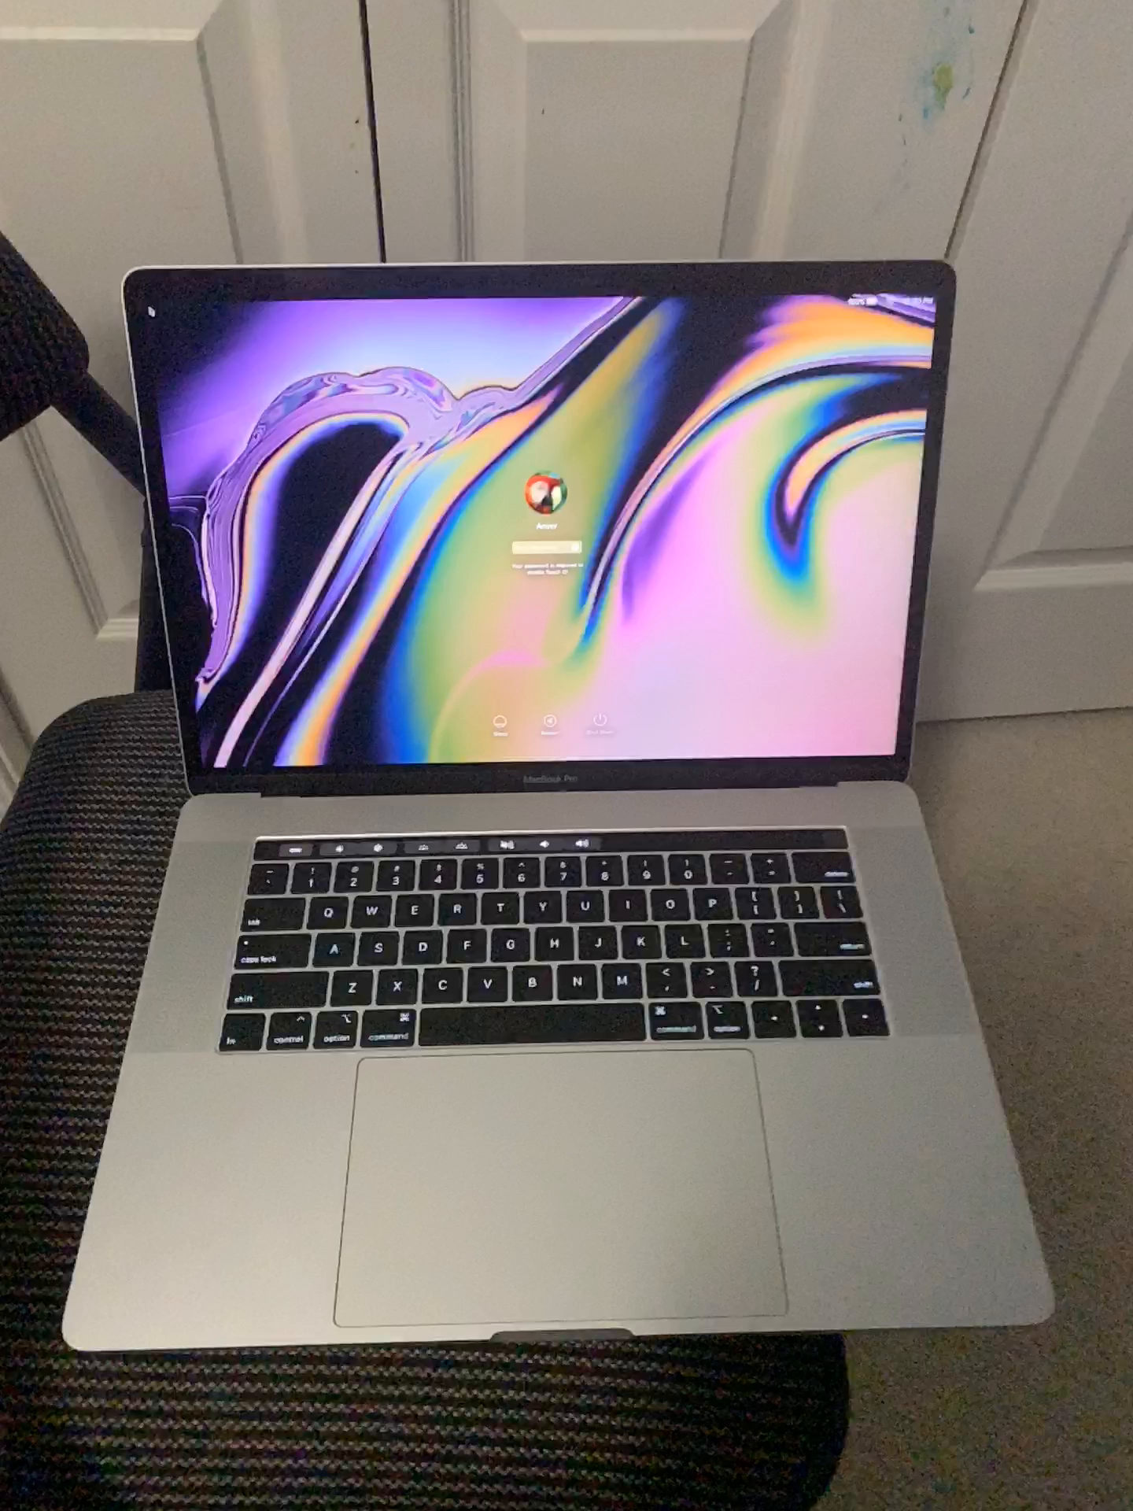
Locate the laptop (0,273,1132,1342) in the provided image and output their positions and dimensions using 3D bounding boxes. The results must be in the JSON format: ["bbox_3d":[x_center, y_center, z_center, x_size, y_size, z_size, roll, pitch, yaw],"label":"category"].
[{"bbox_3d":[-0.002,0.001,0.435,0.342,0.194,0.354,-1,50,-1],"label":"laptop"}]
